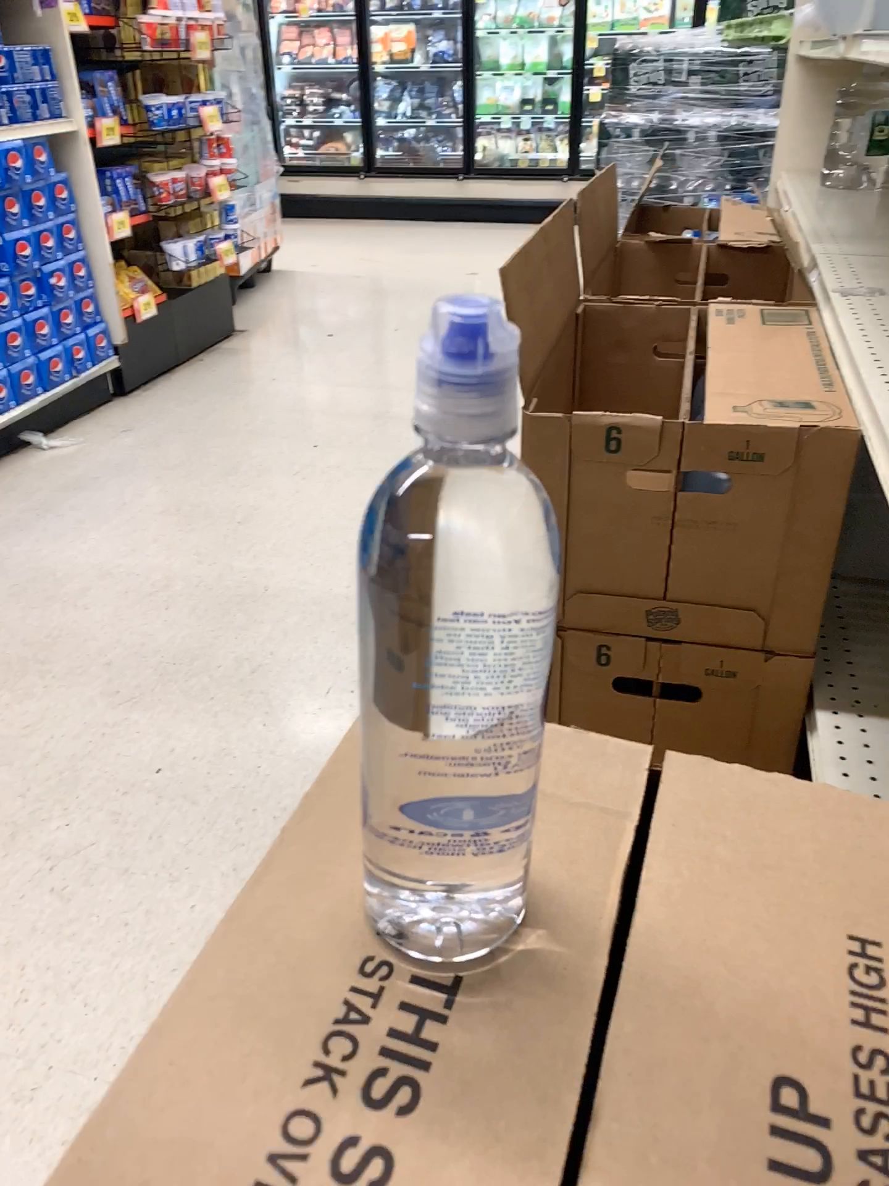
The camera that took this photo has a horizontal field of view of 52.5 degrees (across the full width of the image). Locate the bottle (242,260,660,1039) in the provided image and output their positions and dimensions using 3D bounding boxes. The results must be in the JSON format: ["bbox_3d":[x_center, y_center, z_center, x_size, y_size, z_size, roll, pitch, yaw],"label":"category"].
[{"bbox_3d":[0.009,0.024,0.316,0.090,0.249,0.090,-1,30,1],"label":"bottle"}]
